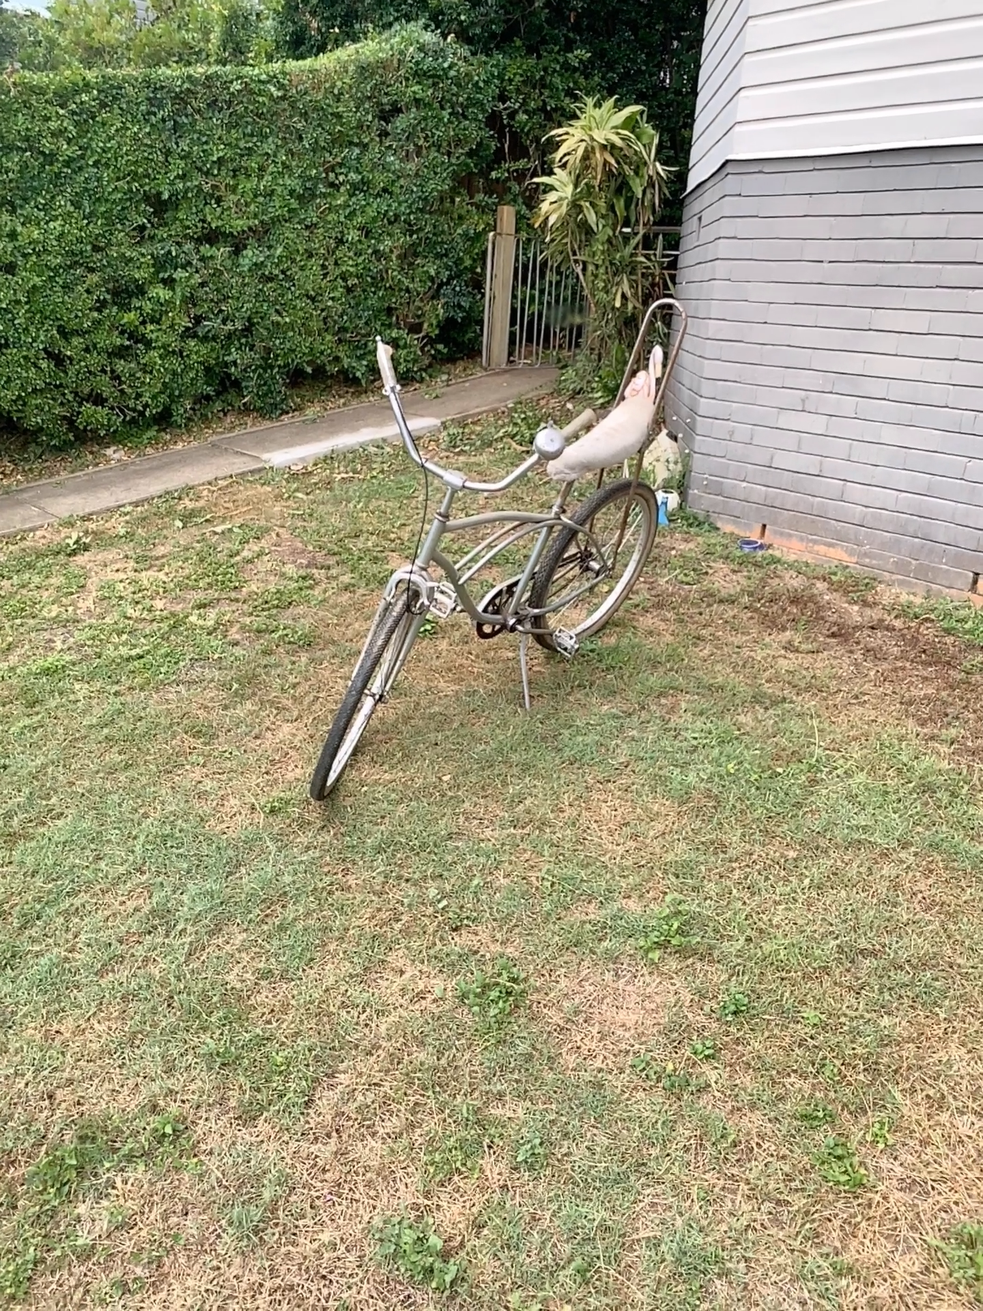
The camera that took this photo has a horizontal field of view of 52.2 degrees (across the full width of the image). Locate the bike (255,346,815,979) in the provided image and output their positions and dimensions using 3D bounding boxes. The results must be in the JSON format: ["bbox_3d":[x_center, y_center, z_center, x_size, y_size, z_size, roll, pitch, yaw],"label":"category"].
[{"bbox_3d":[0.181,-0.172,2.956,0.802,0.990,1.605,17,33,34],"label":"bike"}]
